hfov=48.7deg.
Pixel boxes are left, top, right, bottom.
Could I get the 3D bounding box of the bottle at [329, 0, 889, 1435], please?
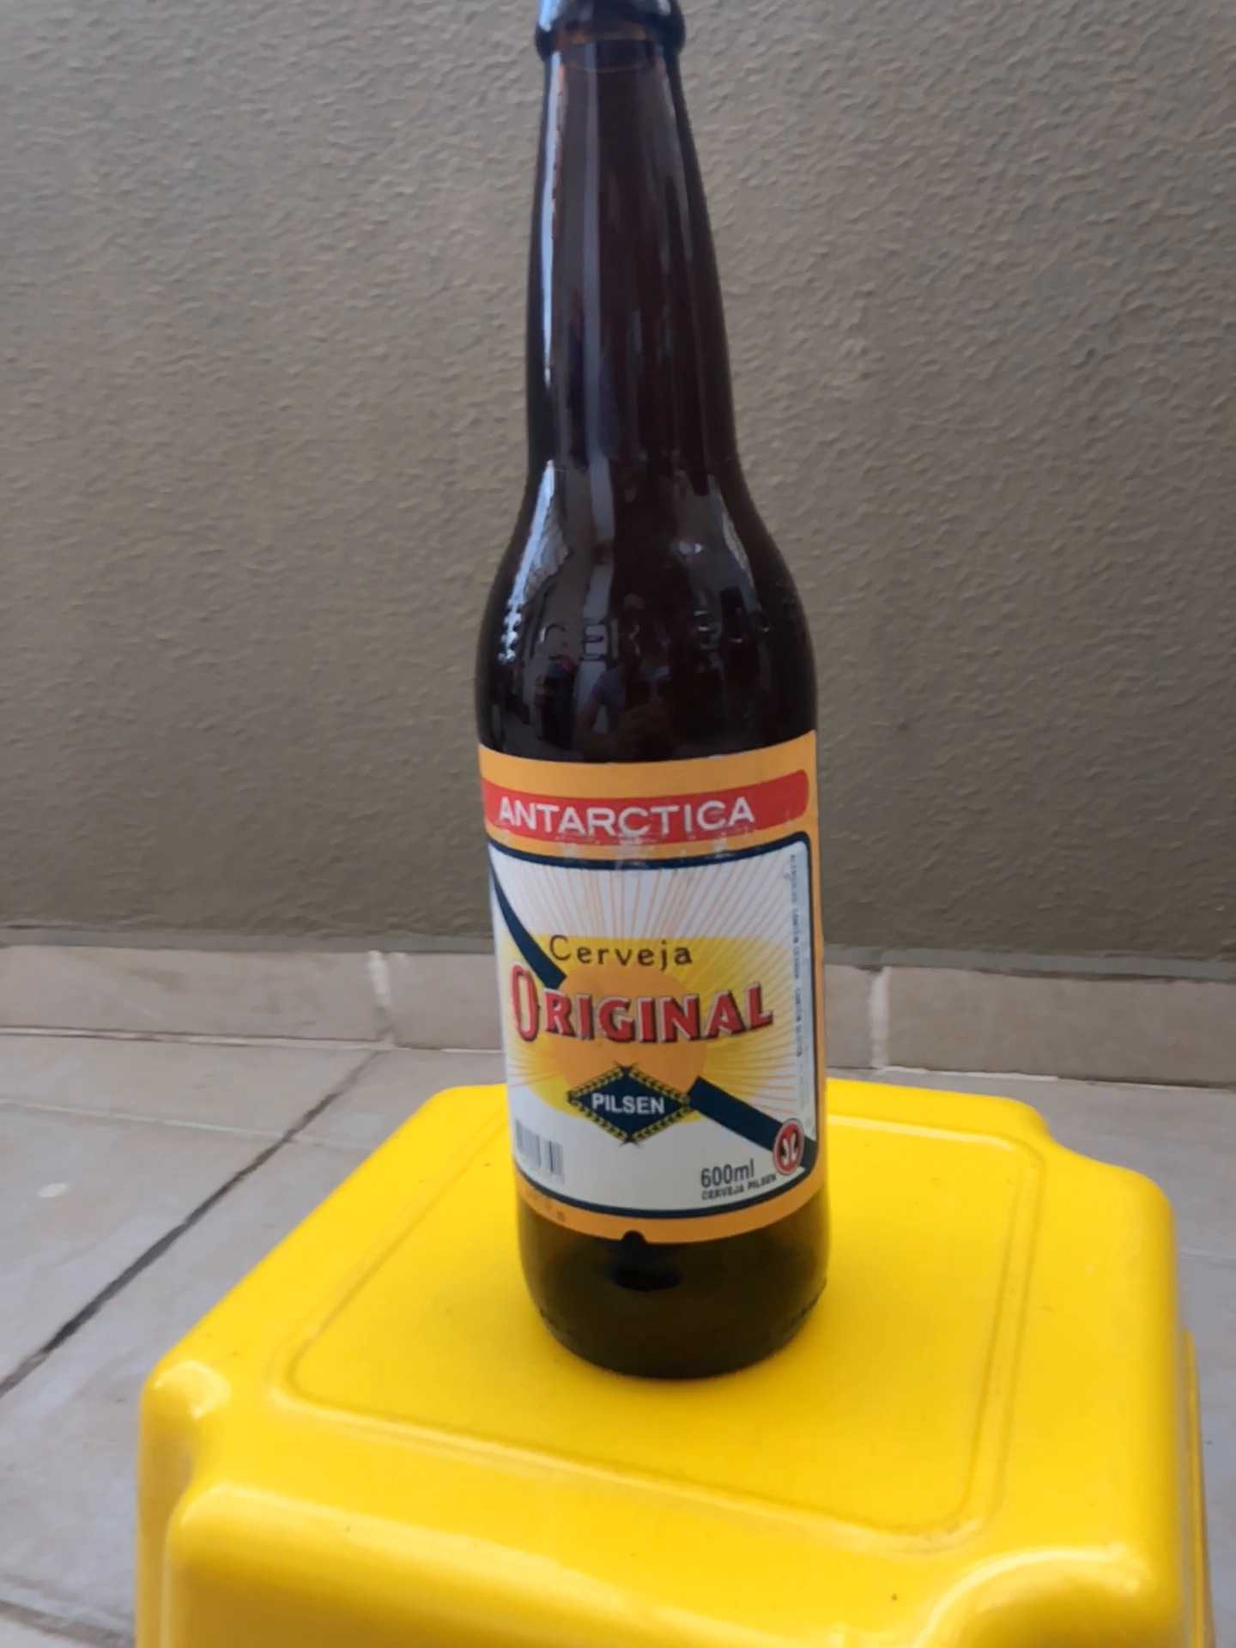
[{"bbox_3d":[0.009,-0.028,0.294,0.080,0.289,0.080,-3,14,1],"label":"bottle"}]
